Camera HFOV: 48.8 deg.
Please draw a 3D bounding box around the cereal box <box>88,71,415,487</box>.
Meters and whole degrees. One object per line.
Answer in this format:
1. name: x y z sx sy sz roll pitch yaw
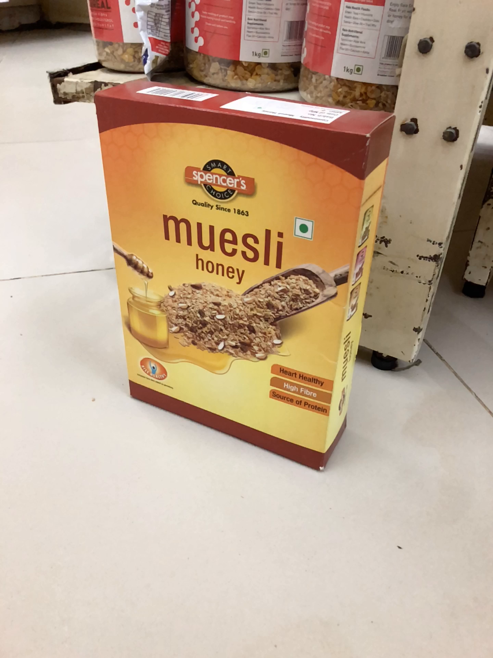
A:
1. cereal box: -0.004 -0.032 0.395 0.190 0.258 0.060 19 38 25
